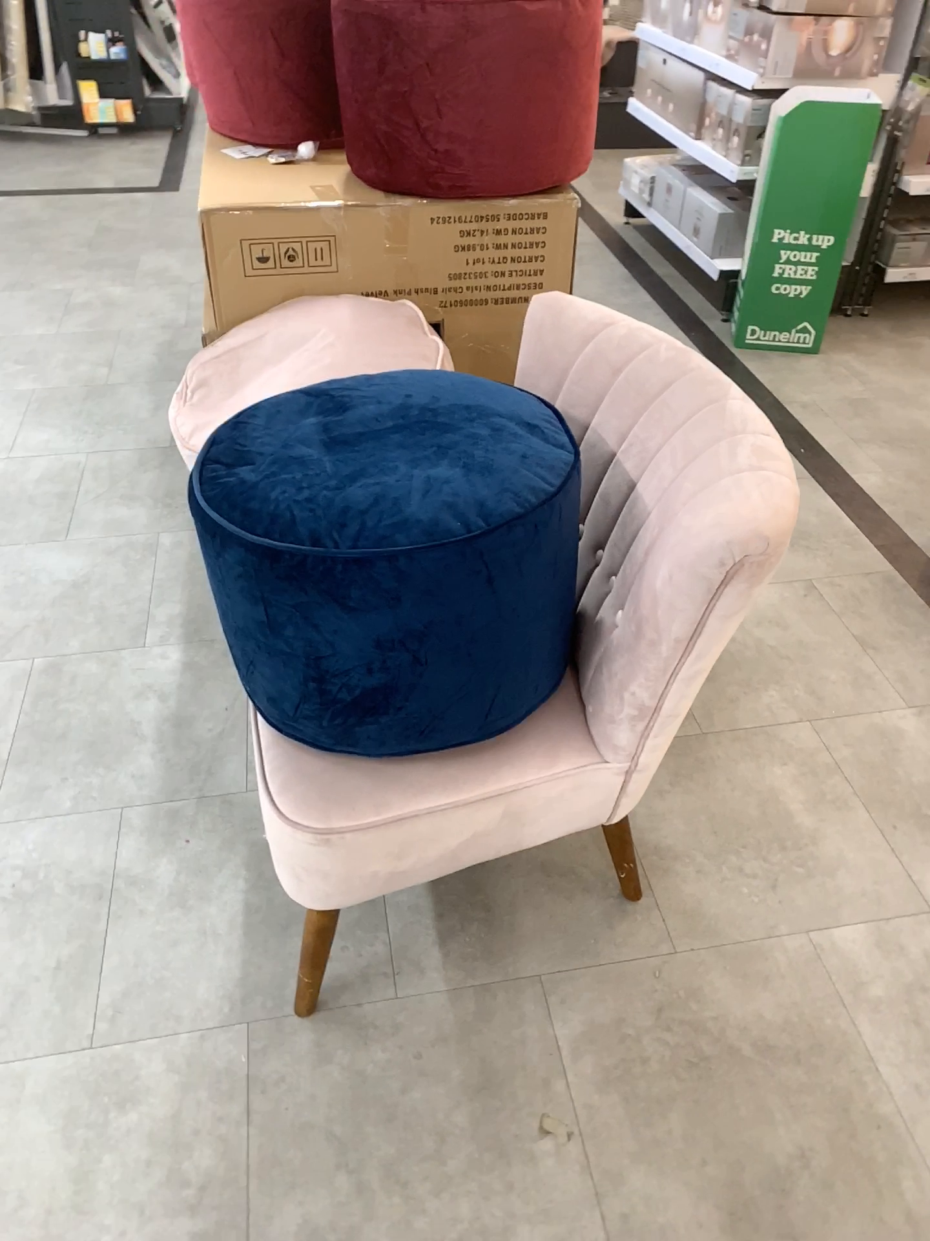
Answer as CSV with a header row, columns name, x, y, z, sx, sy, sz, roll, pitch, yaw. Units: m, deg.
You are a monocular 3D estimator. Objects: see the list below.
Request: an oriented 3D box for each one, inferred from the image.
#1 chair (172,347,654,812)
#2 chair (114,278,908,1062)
name,x,y,z,sx,sy,sz,roll,pitch,yaw
chair,-0.092,-0.084,1.254,0.493,0.340,0.499,-6,39,-9
chair,-0.005,0.037,1.355,0.730,0.772,0.697,-6,39,-9
